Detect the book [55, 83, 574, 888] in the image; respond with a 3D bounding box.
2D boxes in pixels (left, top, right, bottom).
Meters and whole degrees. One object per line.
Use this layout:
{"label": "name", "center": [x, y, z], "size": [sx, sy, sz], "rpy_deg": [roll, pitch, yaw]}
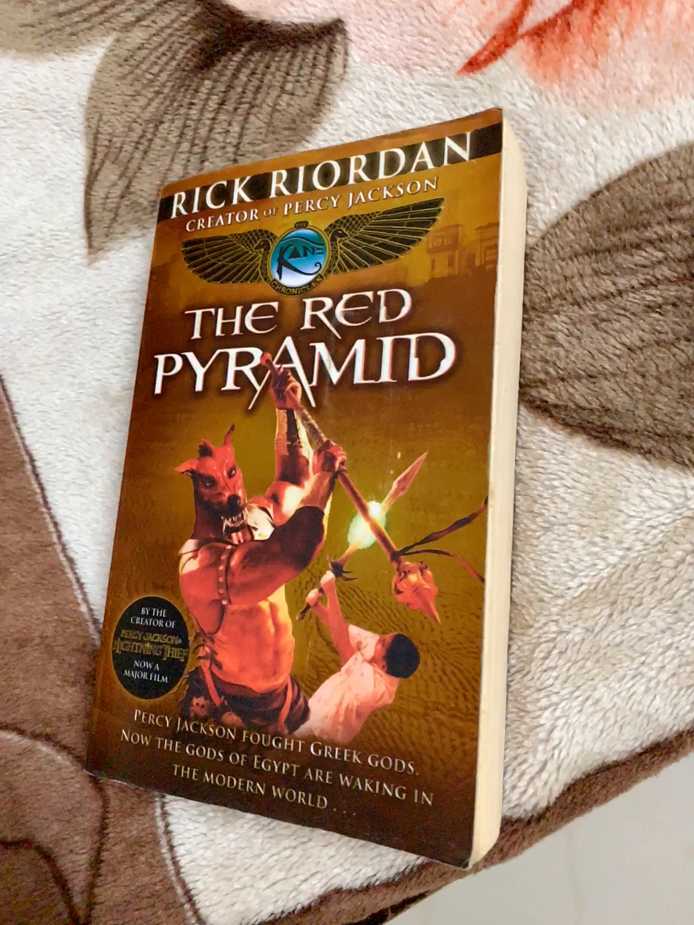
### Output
{"label": "book", "center": [-0.006, -0.002, 0.240], "size": [0.150, 0.040, 0.220], "rpy_deg": [0, 77, 22]}
